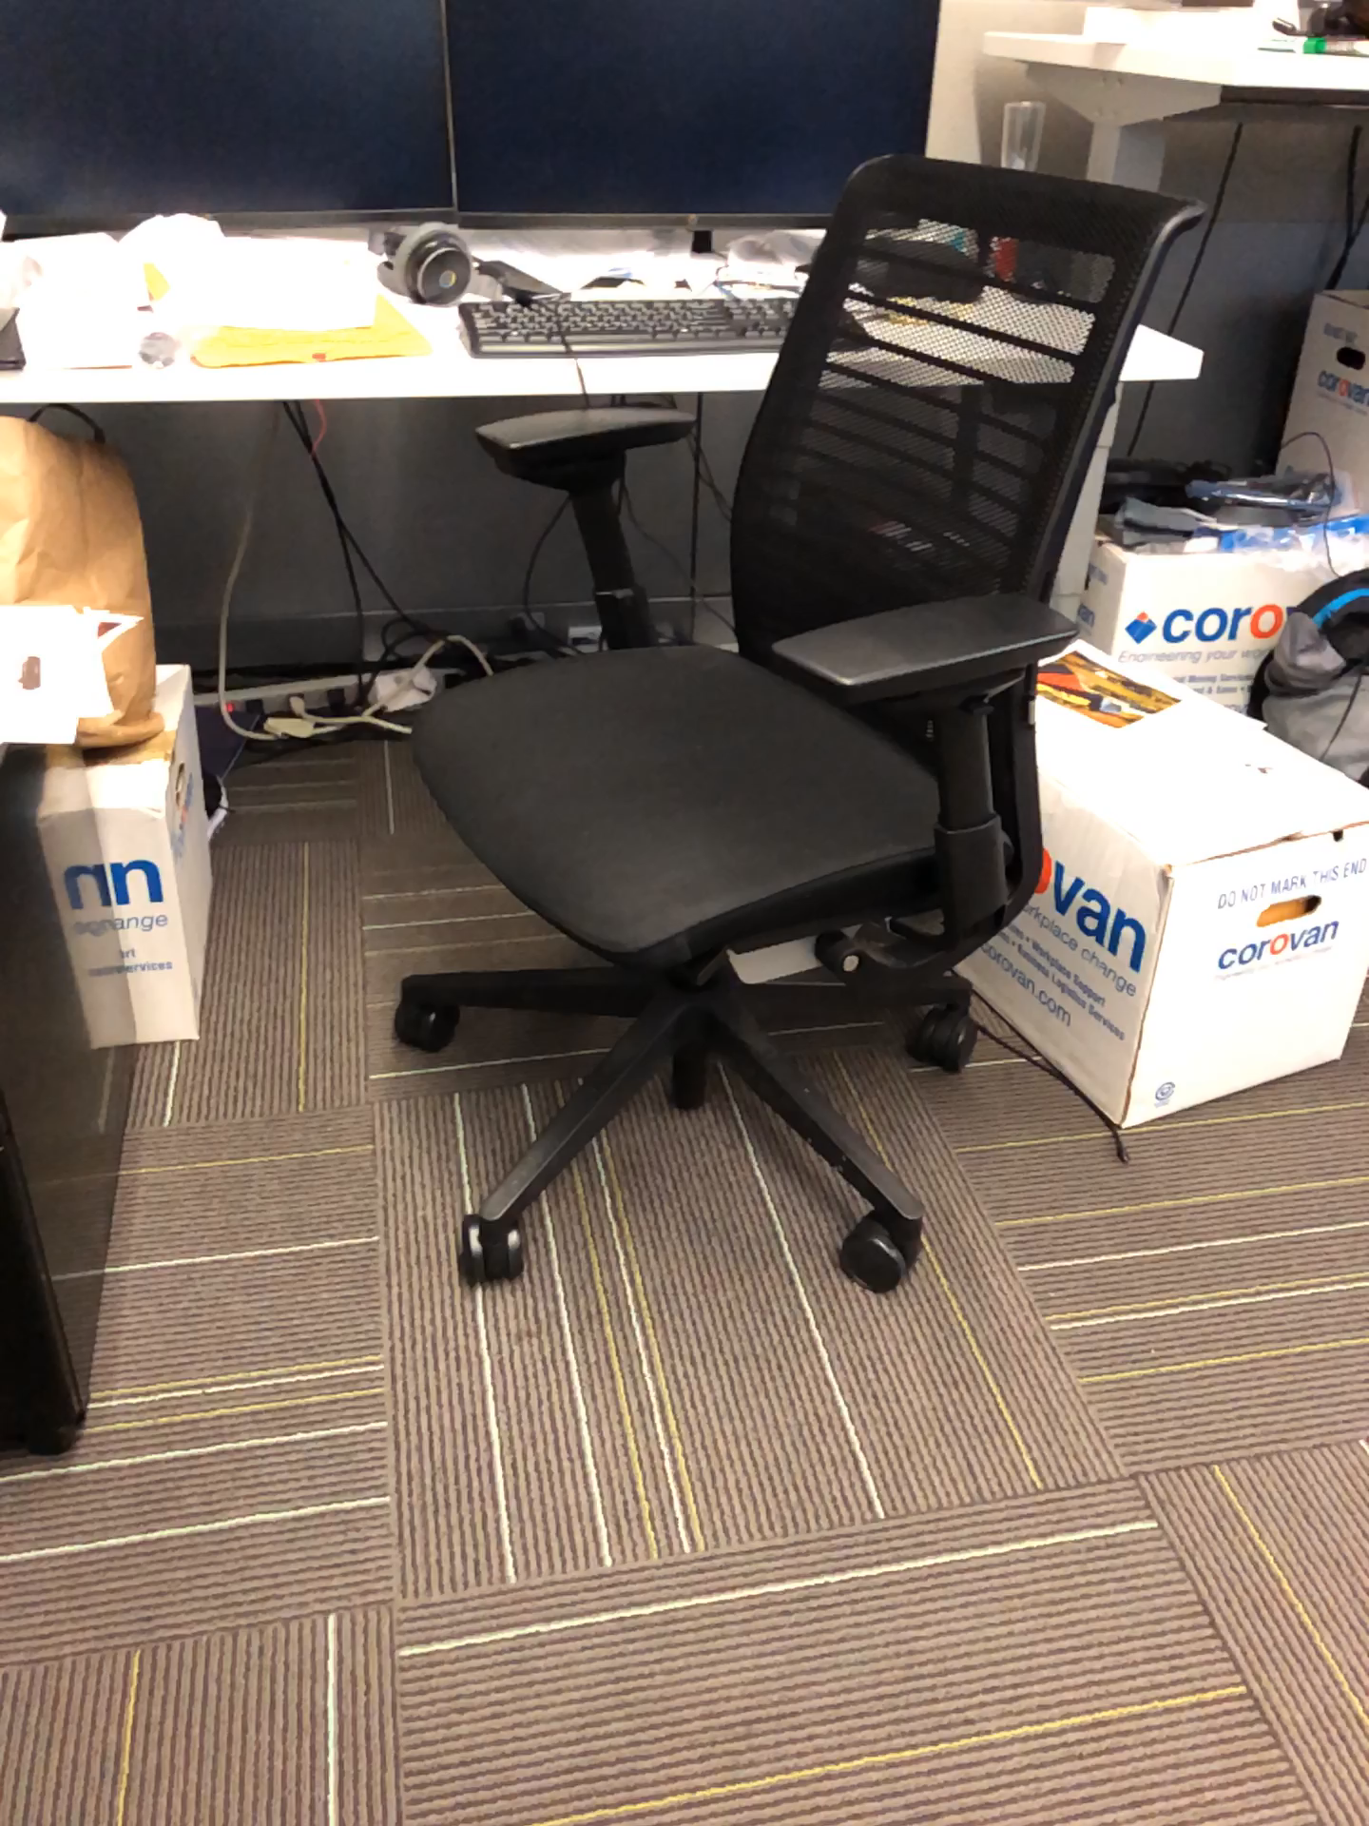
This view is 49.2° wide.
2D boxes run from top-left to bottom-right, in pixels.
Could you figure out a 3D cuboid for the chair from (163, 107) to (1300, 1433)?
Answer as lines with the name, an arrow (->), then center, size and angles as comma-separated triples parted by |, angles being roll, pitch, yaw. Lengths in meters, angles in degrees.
chair -> -0.013, -0.195, 1.397 | 0.611, 0.935, 0.673 | -17, 36, -27
